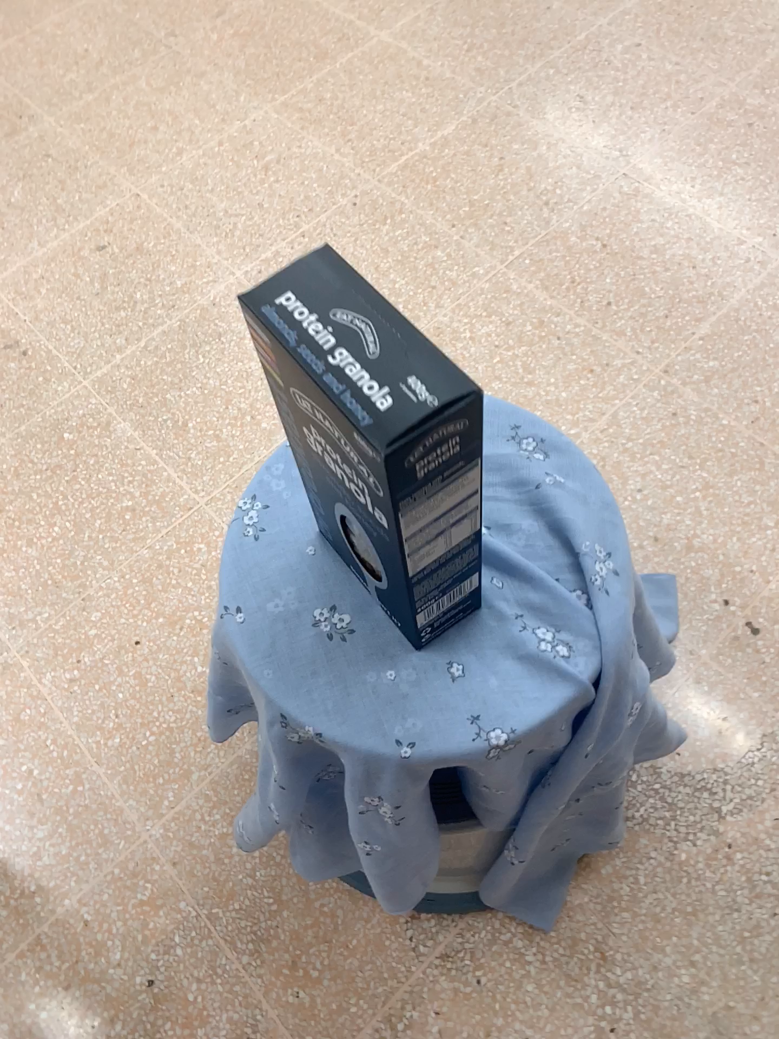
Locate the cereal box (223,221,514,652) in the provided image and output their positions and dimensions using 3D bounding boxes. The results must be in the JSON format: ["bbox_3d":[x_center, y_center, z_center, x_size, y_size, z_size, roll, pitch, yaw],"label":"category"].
[{"bbox_3d":[-0.003,-0.030,0.468,0.070,0.238,0.131,-36,65,-13],"label":"cereal box"}]
